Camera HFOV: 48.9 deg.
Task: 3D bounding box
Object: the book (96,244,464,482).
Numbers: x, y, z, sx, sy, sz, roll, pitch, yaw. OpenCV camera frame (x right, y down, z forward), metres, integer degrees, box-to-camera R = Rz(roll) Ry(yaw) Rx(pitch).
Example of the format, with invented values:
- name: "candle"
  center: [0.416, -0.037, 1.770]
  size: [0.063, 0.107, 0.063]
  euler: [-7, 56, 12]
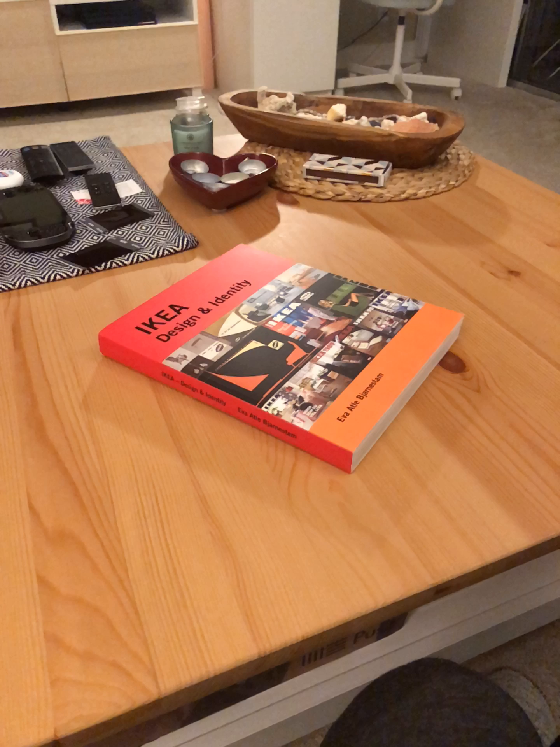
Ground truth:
- name: "book"
  center: [0.005, -0.032, 0.562]
  size: [0.254, 0.030, 0.217]
  euler: [22, 42, 26]
